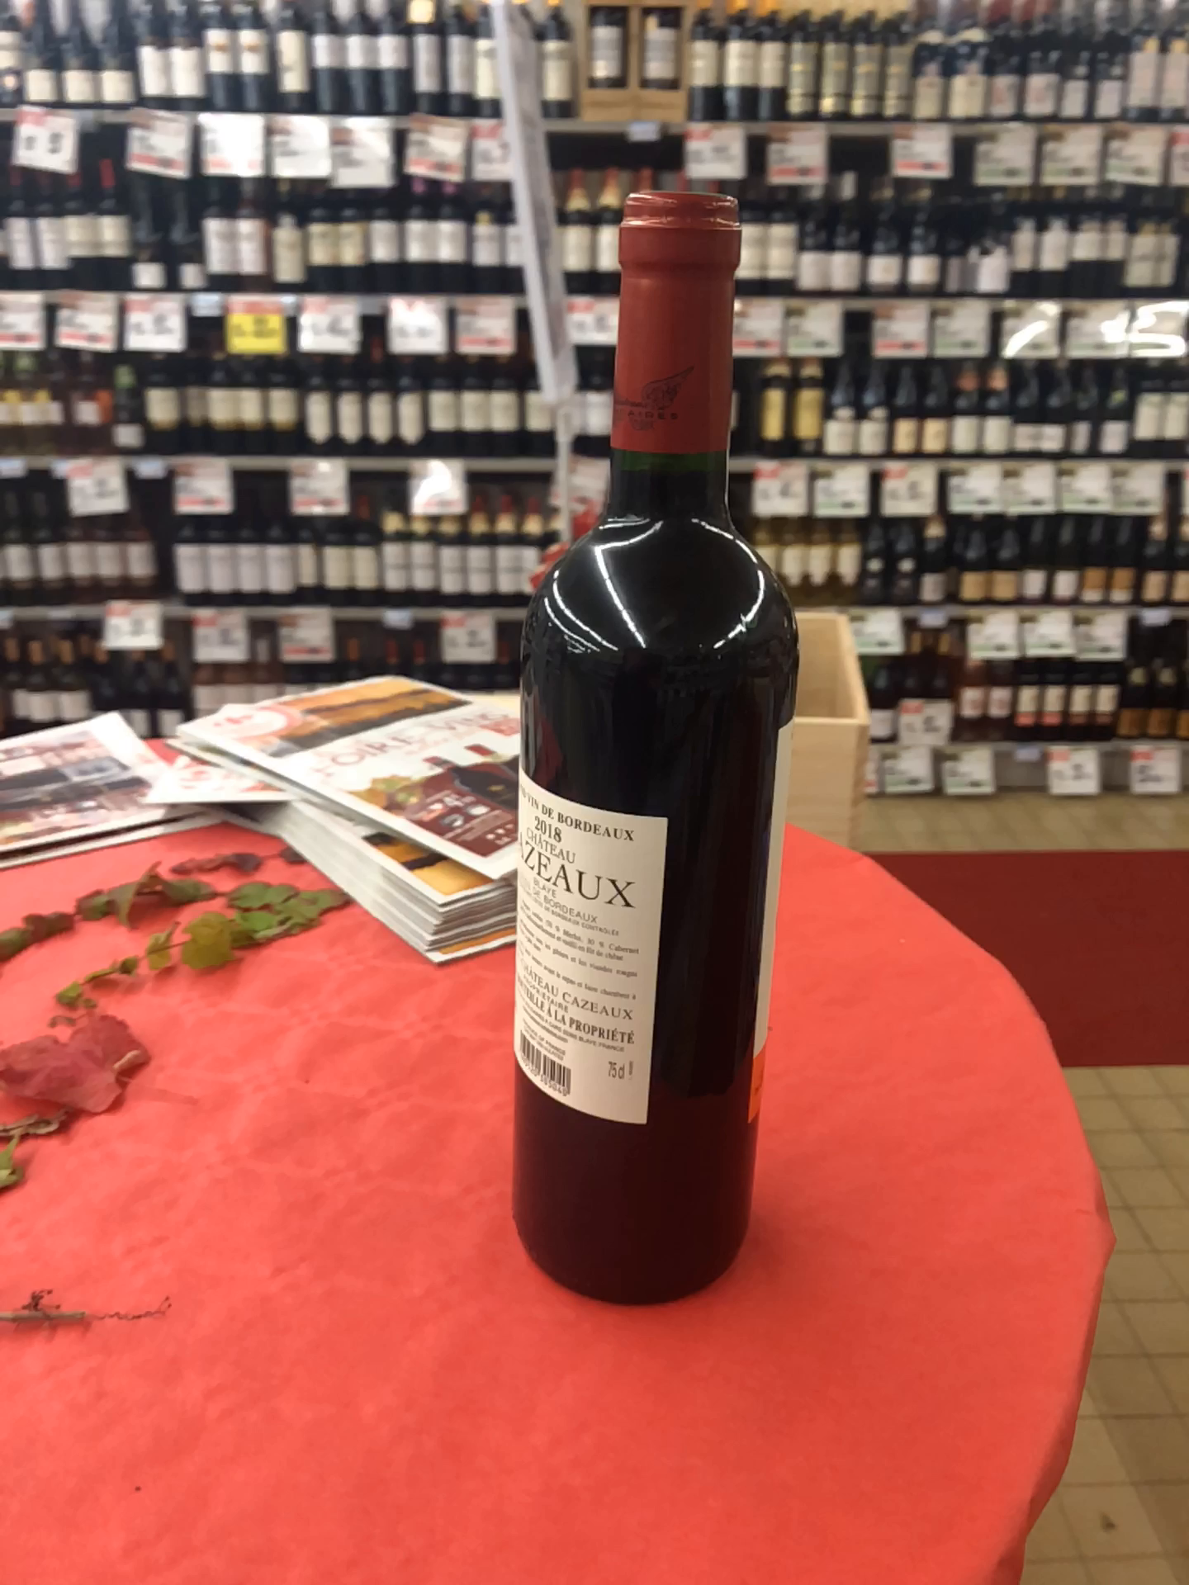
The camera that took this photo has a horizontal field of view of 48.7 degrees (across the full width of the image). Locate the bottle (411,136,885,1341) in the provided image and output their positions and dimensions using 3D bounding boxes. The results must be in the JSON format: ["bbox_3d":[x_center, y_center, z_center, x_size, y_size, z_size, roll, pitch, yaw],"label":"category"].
[{"bbox_3d":[0.010,-0.009,0.362,0.080,0.299,0.080,0,20,0],"label":"bottle"}]
